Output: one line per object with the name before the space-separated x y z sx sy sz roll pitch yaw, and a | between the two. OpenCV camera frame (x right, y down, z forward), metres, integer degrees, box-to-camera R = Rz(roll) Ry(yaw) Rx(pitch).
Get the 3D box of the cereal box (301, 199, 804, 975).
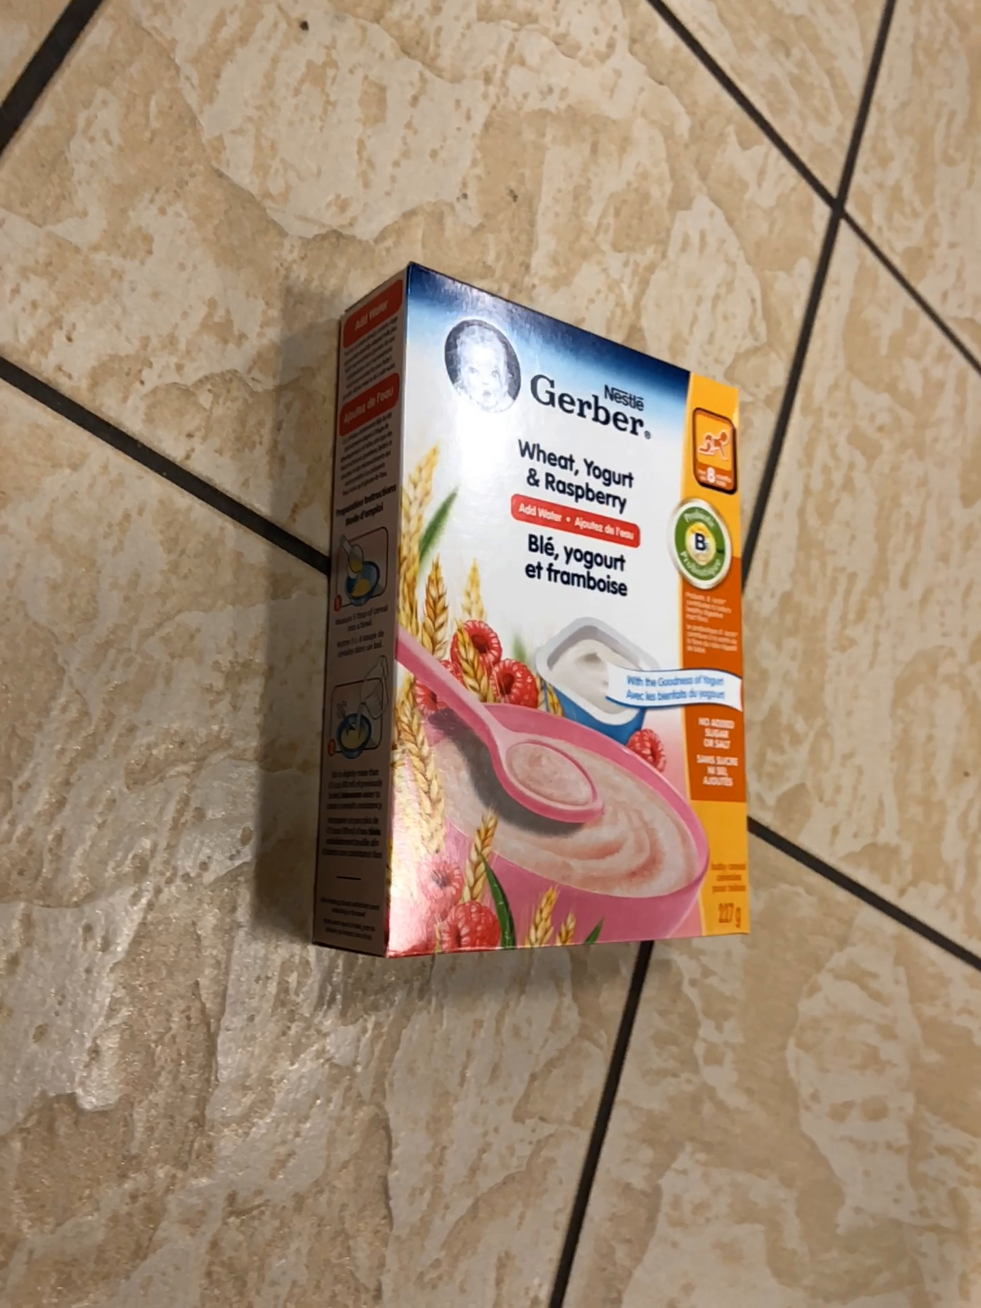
cereal box | 0.026 -0.012 0.355 0.161 0.050 0.210 8 77 -36
